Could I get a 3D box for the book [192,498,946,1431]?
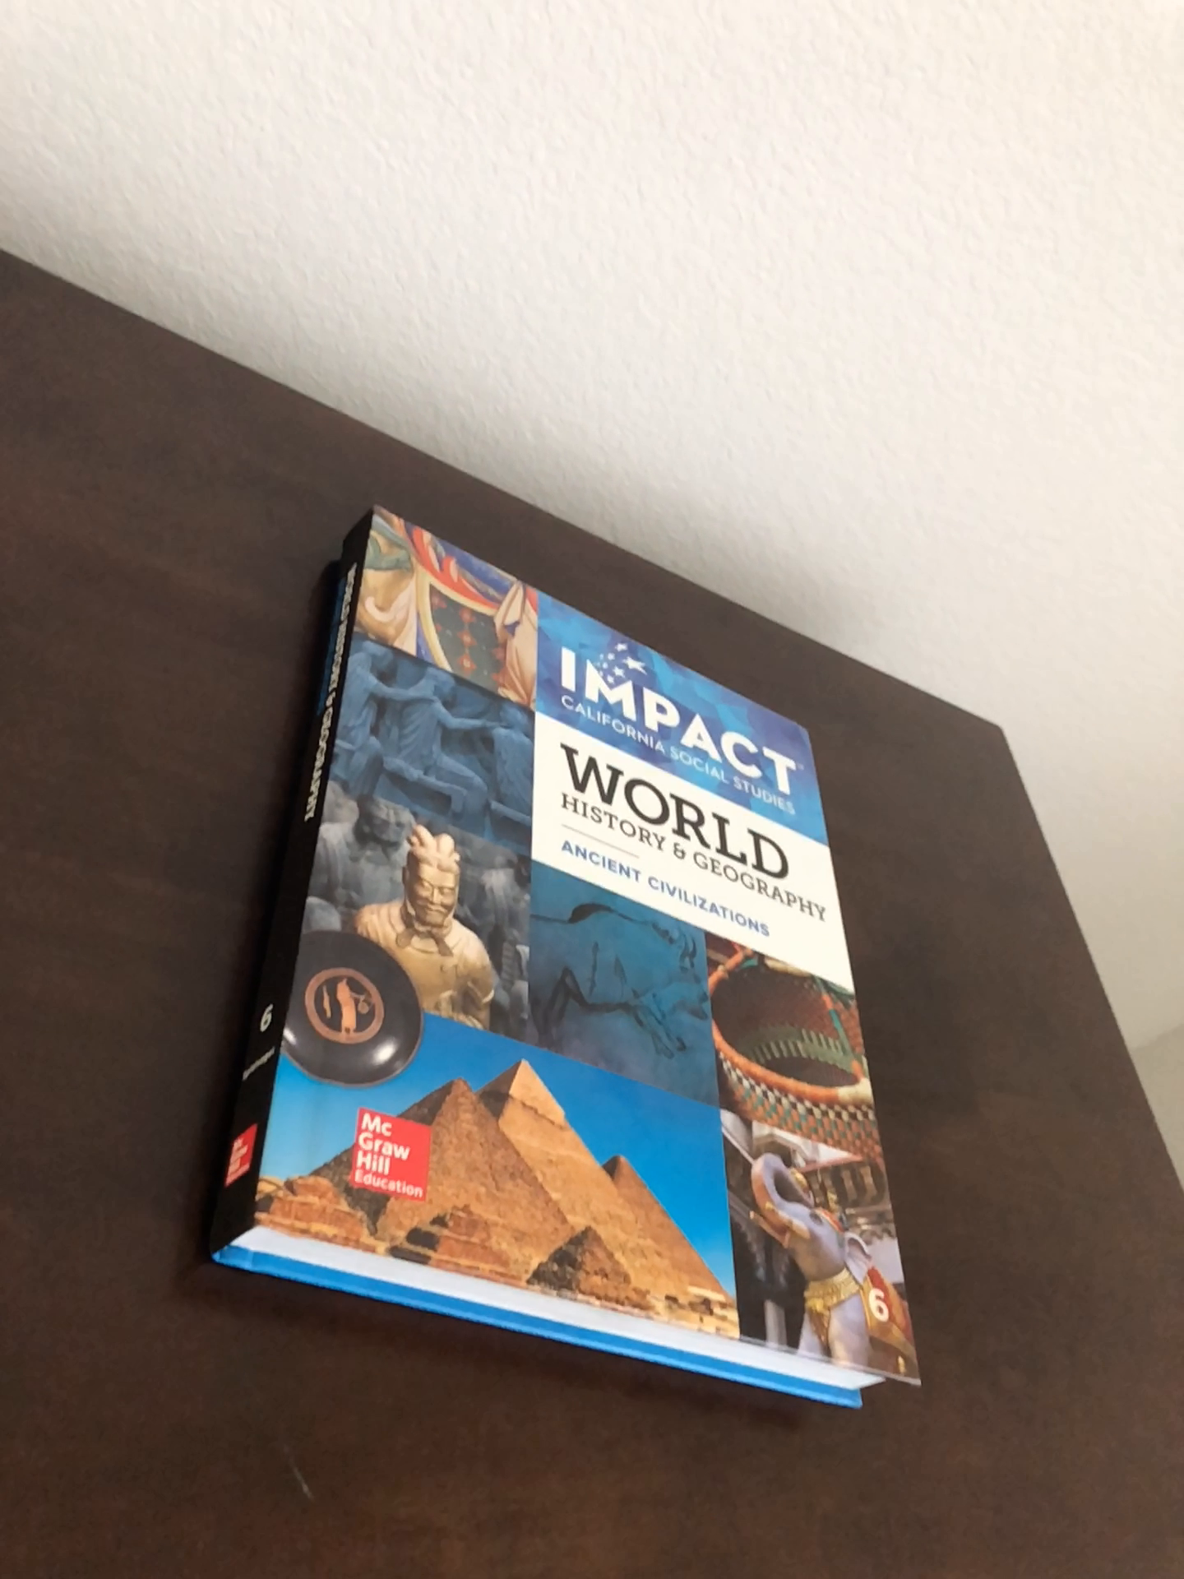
[{"bbox_3d":[0.004,0.047,0.452,0.228,0.030,0.285,25,42,-26],"label":"book"}]
